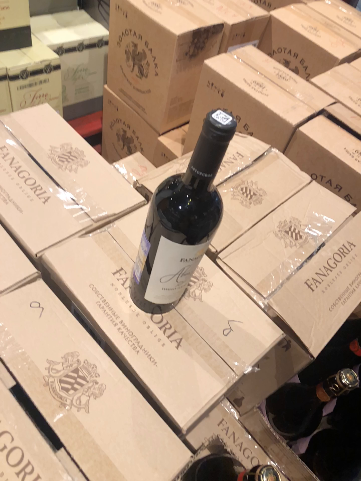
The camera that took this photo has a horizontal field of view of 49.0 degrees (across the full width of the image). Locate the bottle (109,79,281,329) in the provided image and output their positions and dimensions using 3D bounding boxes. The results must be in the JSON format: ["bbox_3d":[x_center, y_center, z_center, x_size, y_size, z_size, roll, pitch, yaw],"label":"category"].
[{"bbox_3d":[-0.006,-0.021,0.477,0.100,0.308,0.090,-26,63,-31],"label":"bottle"}]
